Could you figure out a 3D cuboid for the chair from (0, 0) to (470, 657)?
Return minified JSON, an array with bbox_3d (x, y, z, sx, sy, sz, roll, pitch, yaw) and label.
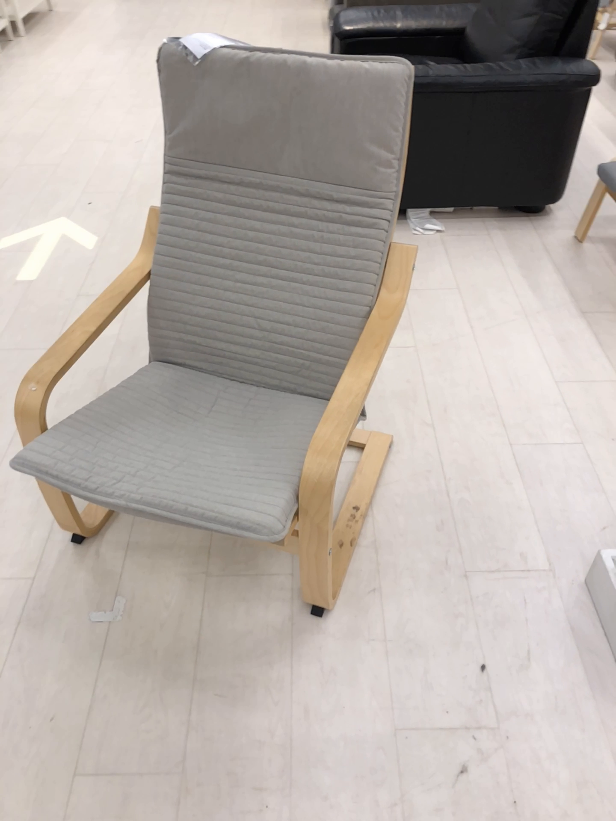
[{"bbox_3d":[-0.184,-0.191,1.358,0.730,0.996,0.703,14,44,16],"label":"chair"}]
